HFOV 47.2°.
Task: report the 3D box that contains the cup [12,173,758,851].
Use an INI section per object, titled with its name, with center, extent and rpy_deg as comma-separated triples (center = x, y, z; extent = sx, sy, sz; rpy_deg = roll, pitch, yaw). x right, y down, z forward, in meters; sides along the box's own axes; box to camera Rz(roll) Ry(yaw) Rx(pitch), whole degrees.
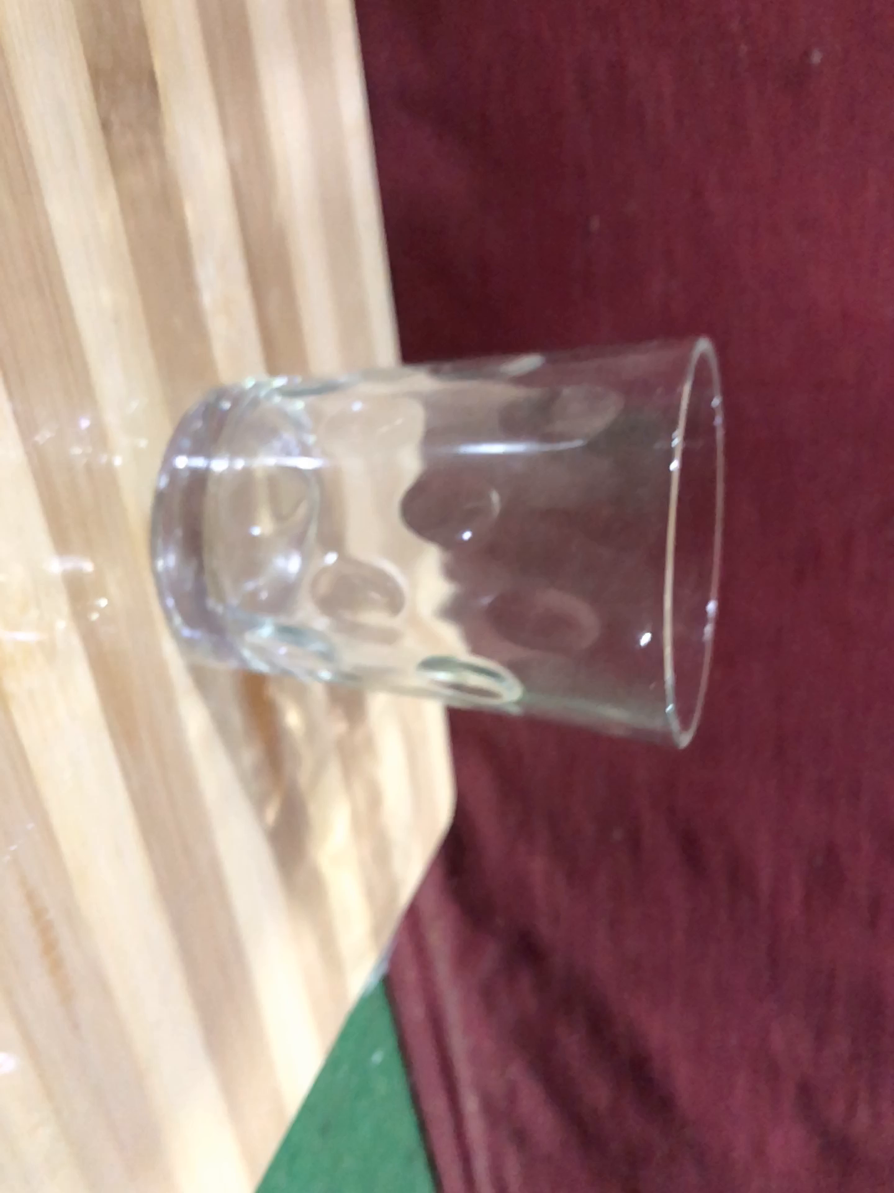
[cup]
center = 0.003, -0.011, 0.223
extent = 0.101, 0.119, 0.100
rpy_deg = 2, 90, -72
